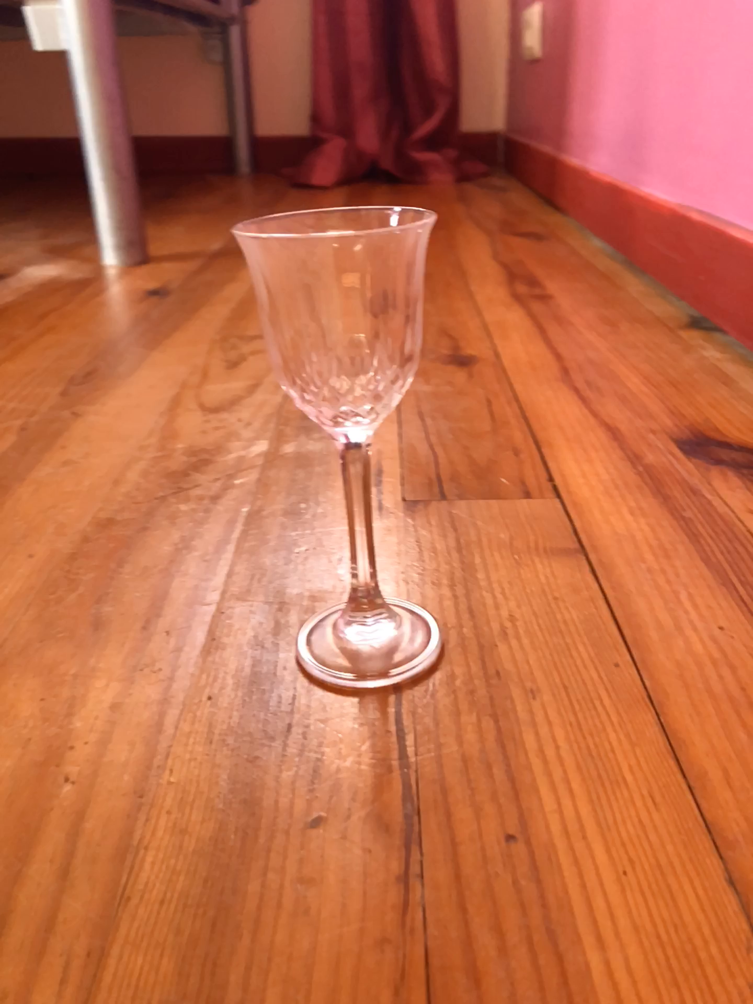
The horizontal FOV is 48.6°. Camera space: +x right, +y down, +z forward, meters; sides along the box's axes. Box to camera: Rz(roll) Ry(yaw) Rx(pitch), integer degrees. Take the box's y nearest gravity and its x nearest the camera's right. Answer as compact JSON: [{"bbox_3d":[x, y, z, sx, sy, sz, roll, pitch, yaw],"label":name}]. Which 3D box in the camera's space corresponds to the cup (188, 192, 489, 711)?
[{"bbox_3d":[-0.008,-0.018,0.250,0.058,0.133,0.060,-3,25,2],"label":"cup"}]
